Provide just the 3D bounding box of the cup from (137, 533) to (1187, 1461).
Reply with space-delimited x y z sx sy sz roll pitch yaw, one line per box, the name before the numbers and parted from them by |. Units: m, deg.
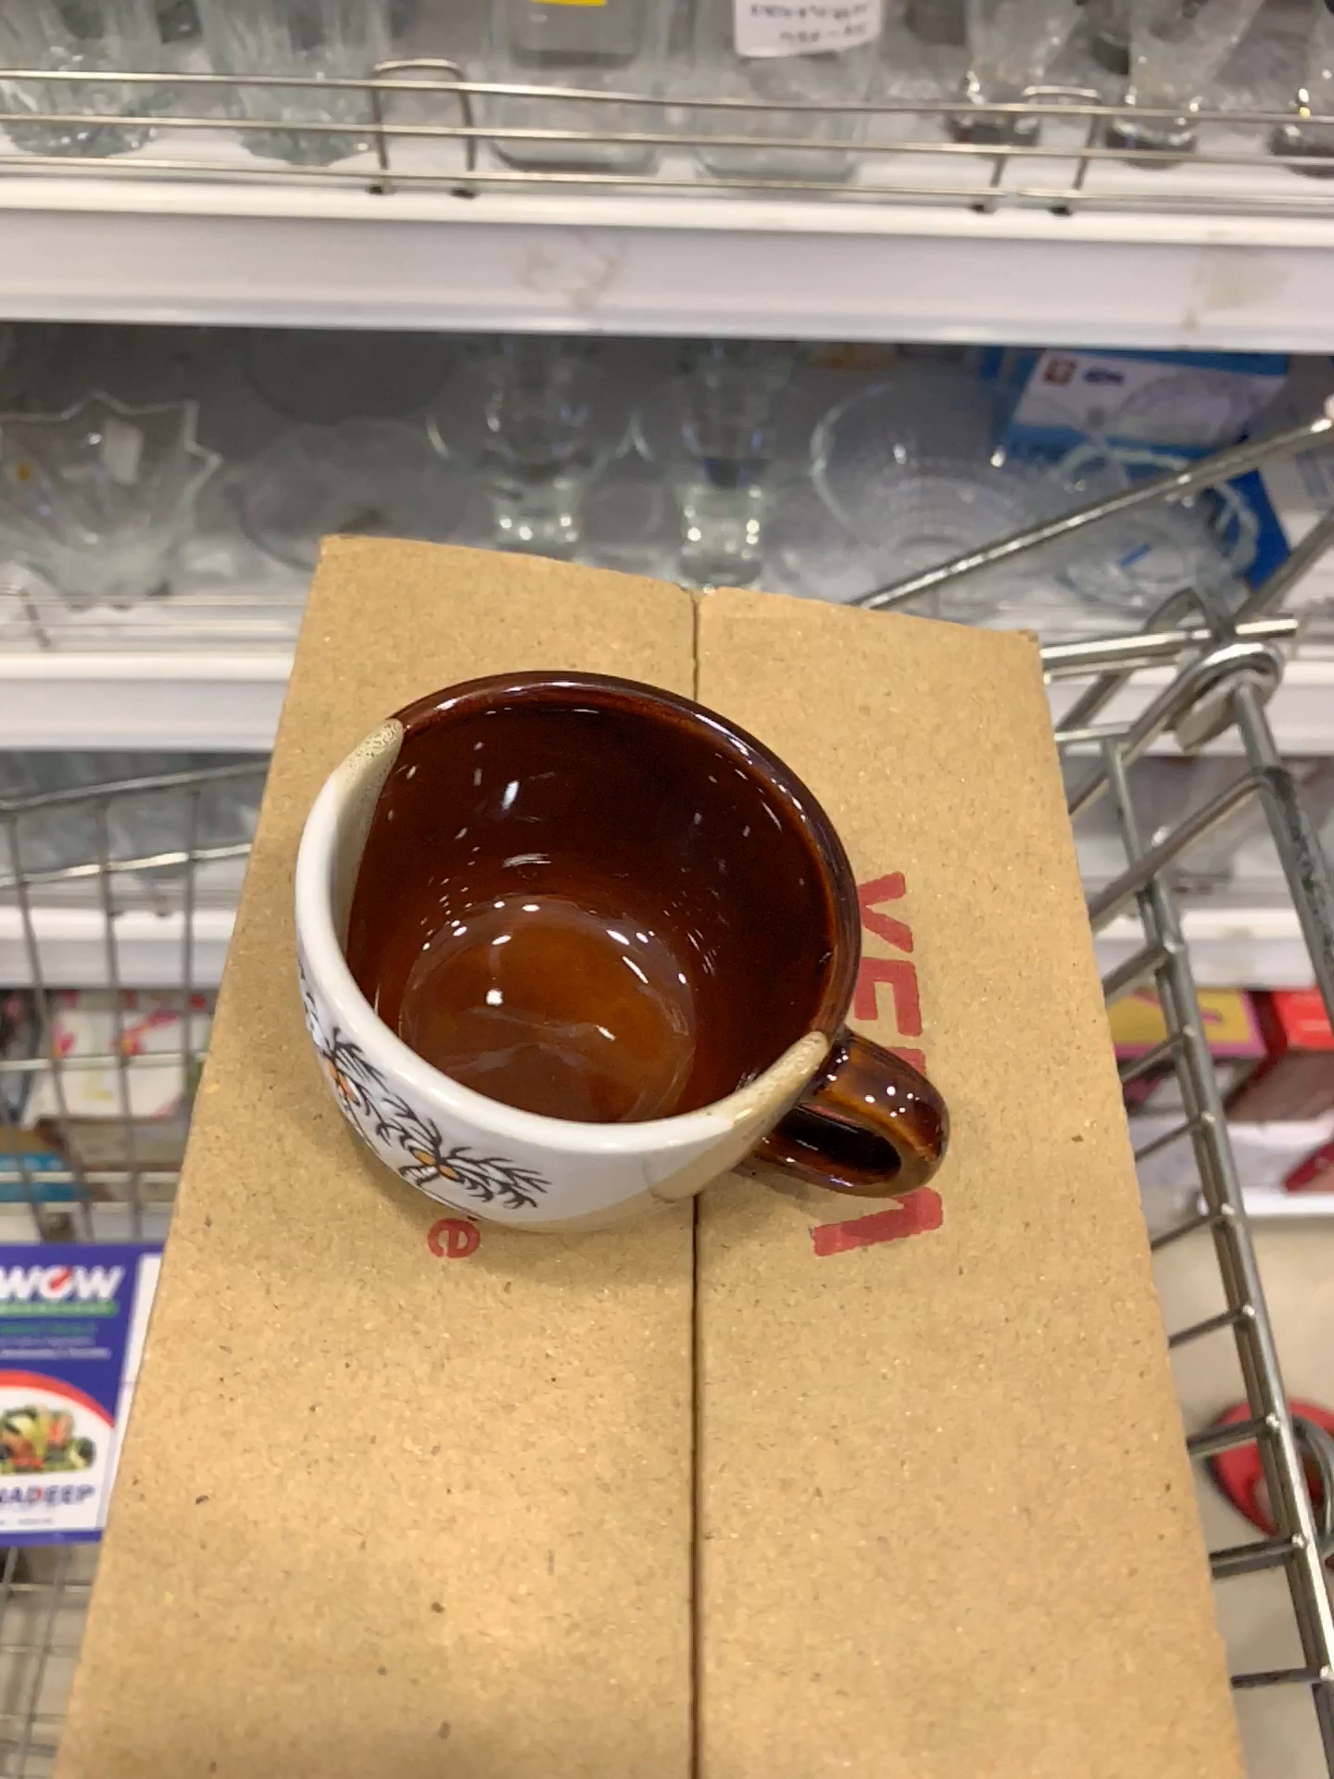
cup | -0.001 0.015 0.177 0.100 0.060 0.060 26 58 6
